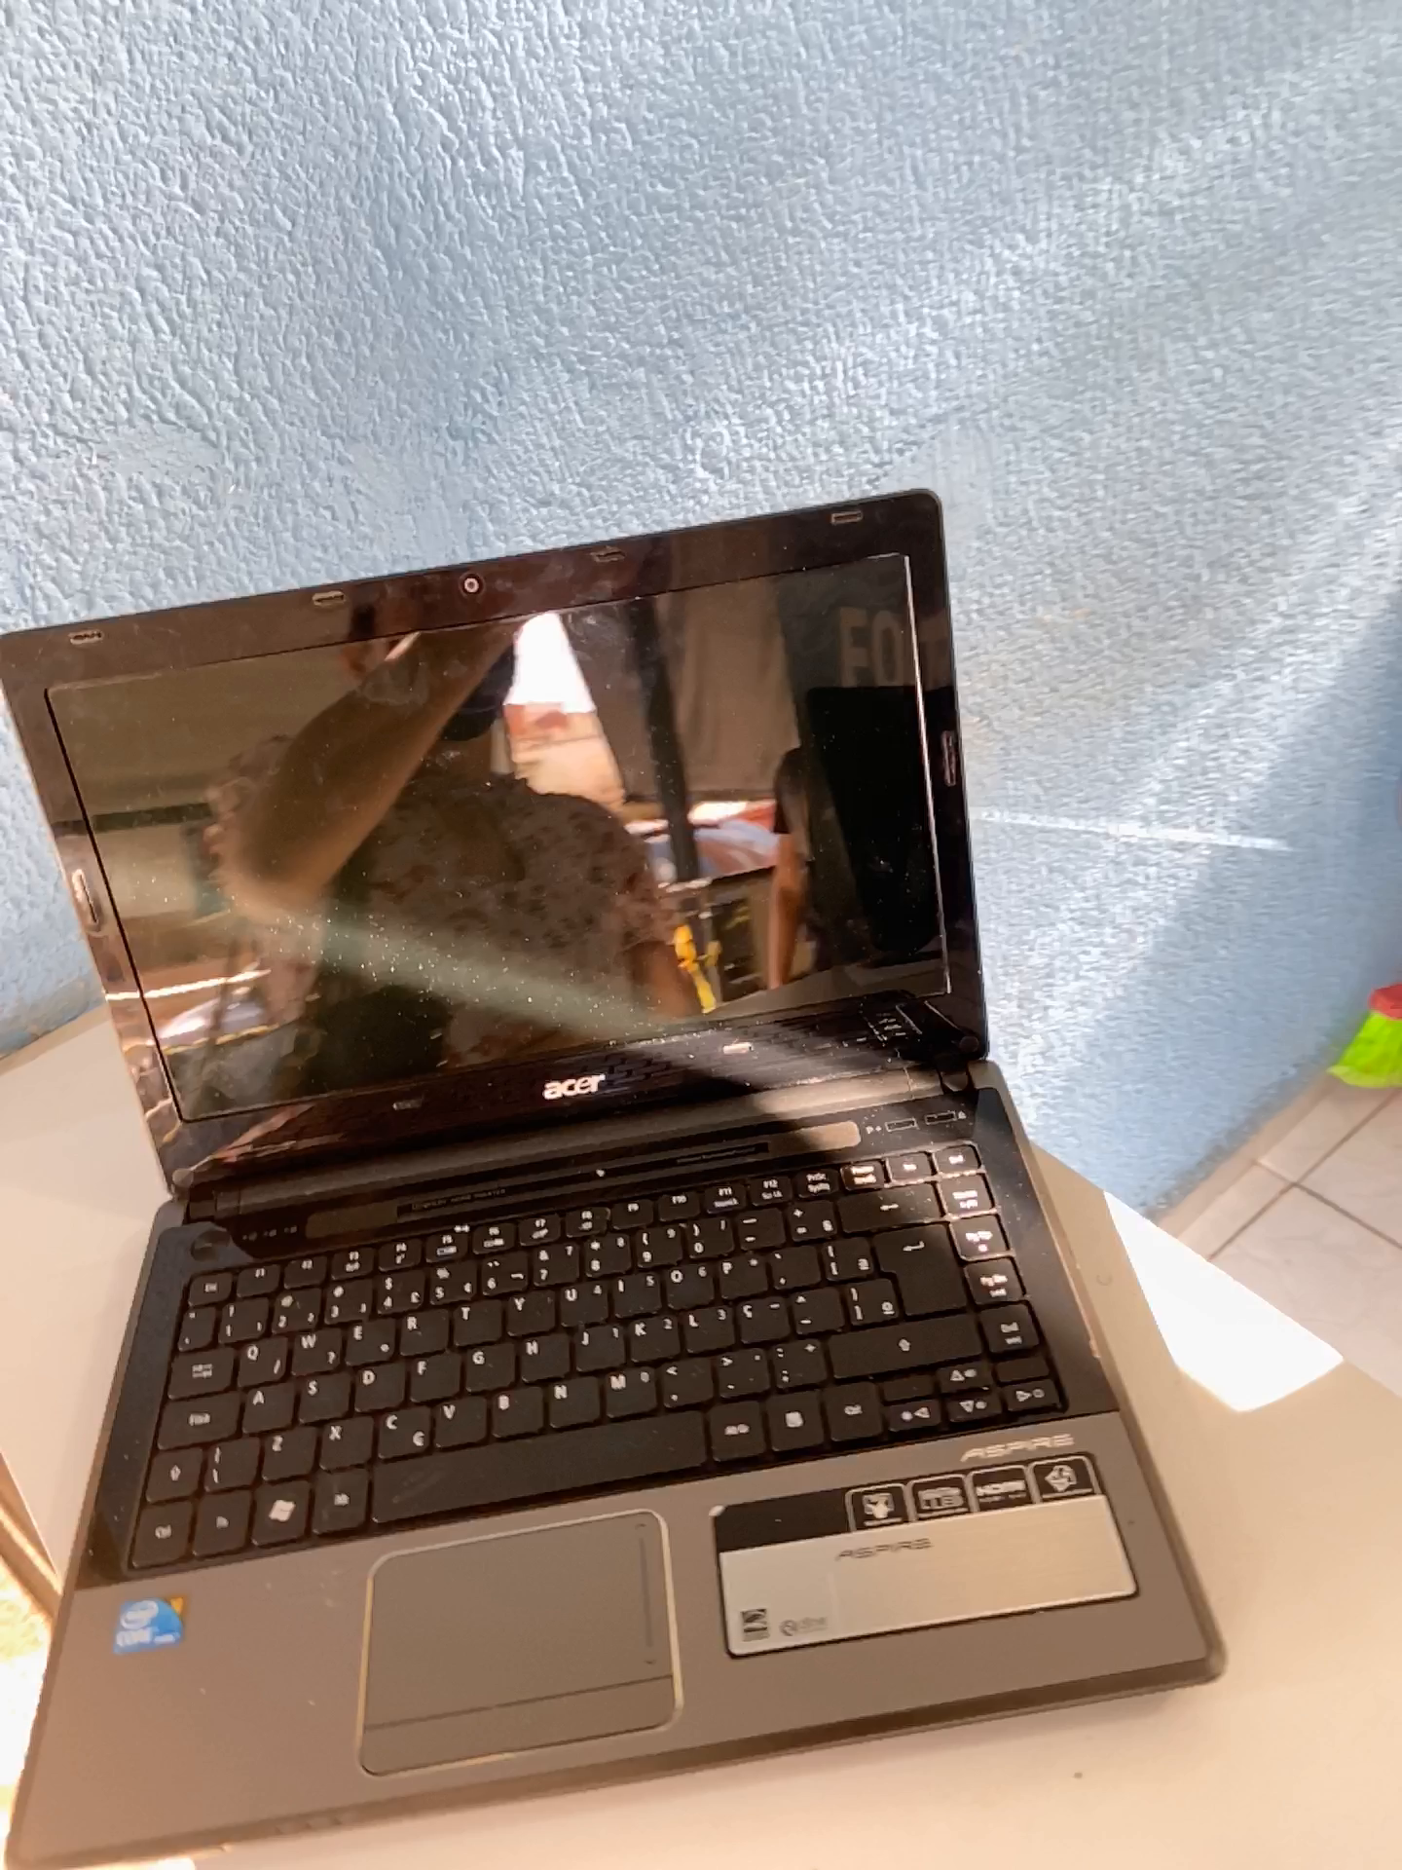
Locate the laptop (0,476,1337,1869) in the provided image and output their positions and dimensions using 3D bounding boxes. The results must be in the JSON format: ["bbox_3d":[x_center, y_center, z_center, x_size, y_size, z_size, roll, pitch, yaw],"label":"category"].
[{"bbox_3d":[-0.053,0.046,0.450,0.336,0.207,0.320,-10,39,0],"label":"laptop"}]
